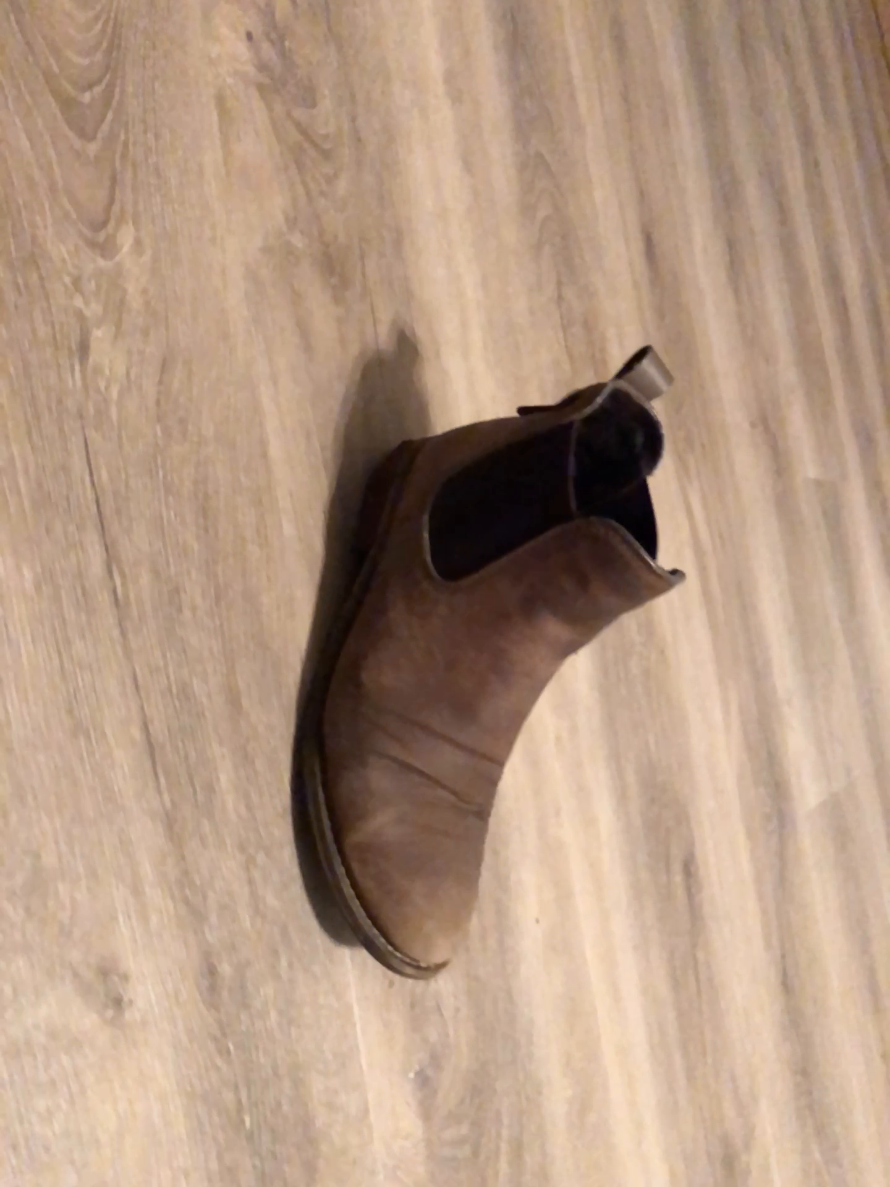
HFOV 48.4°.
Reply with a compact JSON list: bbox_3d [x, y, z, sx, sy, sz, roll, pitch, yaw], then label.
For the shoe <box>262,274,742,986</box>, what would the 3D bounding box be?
[{"bbox_3d":[0.026,0.023,0.396,0.101,0.139,0.240,27,60,-46],"label":"shoe"}]
